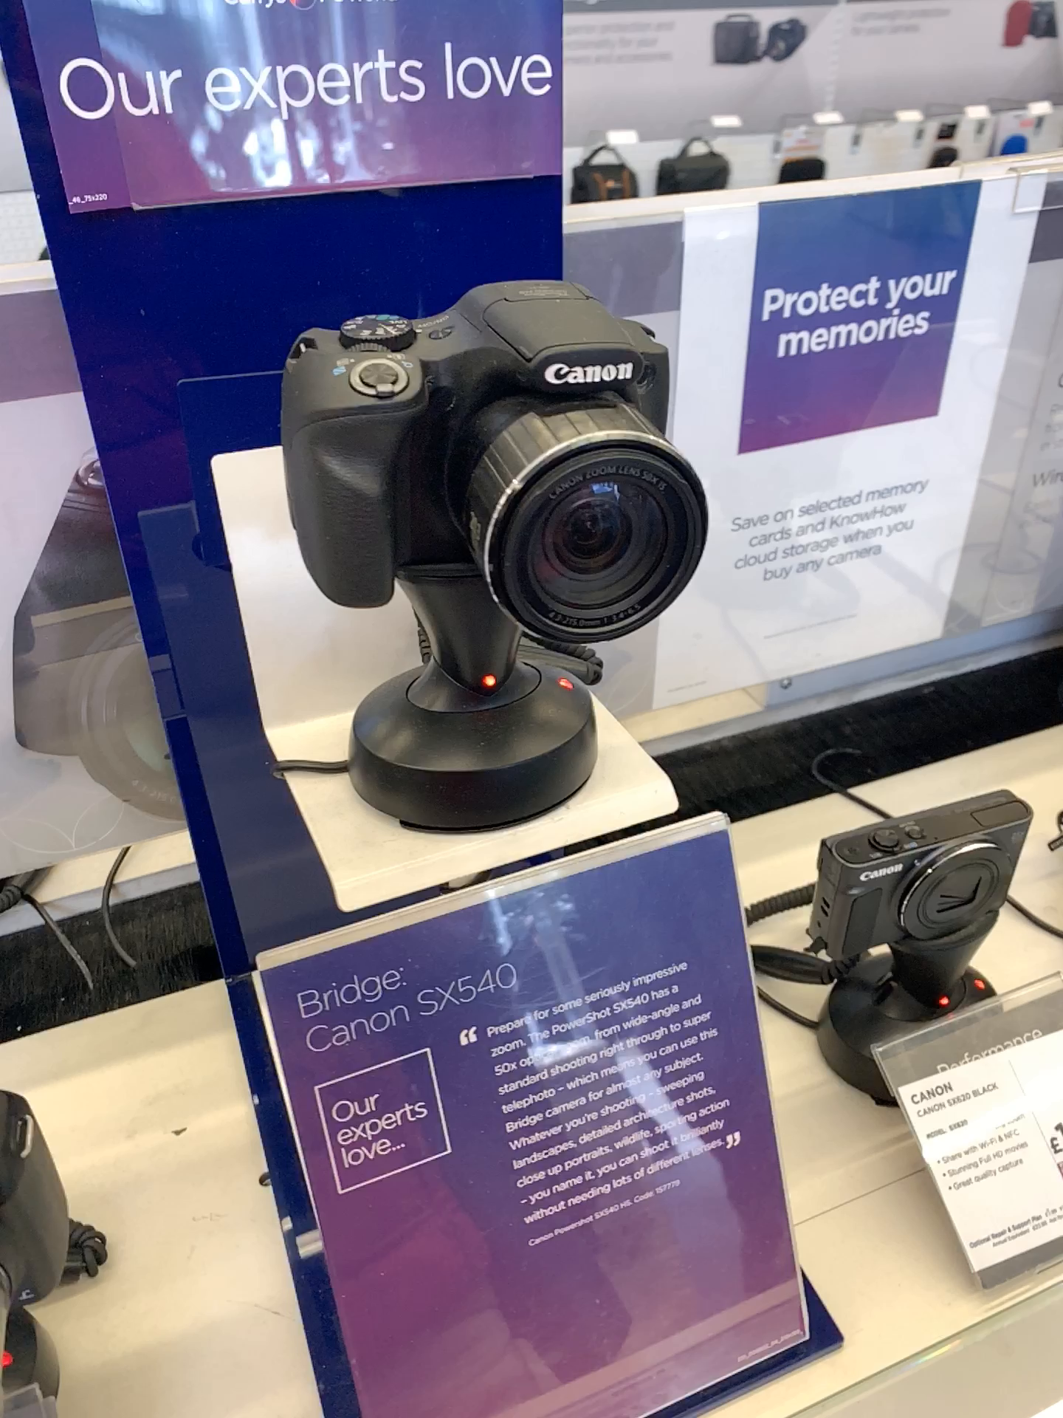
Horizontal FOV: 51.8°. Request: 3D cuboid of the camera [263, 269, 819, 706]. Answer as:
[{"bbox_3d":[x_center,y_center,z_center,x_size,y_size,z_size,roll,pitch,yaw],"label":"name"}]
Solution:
[{"bbox_3d":[-0.005,-0.070,0.307,0.120,0.069,0.111,-10,36,-13],"label":"camera"}]
